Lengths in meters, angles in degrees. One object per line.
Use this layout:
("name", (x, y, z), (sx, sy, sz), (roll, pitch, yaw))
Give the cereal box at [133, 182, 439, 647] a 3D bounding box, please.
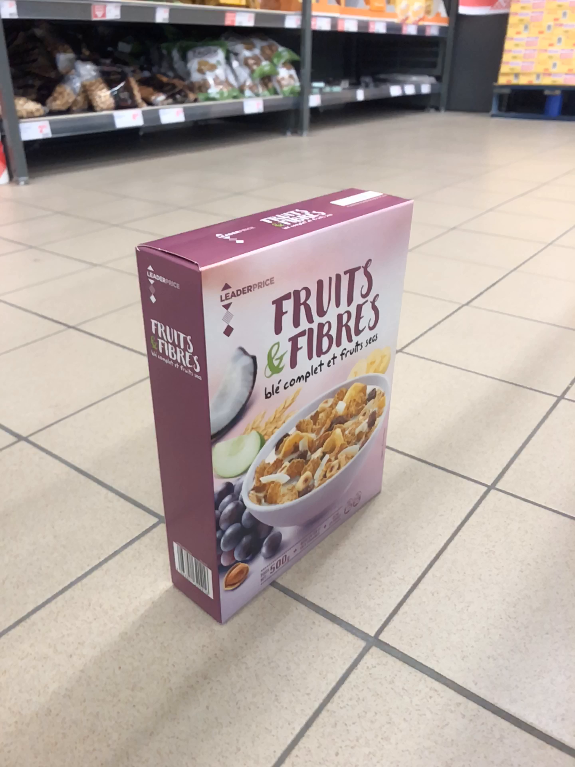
("cereal box", (0.012, 0.011, 0.443), (0.060, 0.259, 0.211), (22, 35, 36))
